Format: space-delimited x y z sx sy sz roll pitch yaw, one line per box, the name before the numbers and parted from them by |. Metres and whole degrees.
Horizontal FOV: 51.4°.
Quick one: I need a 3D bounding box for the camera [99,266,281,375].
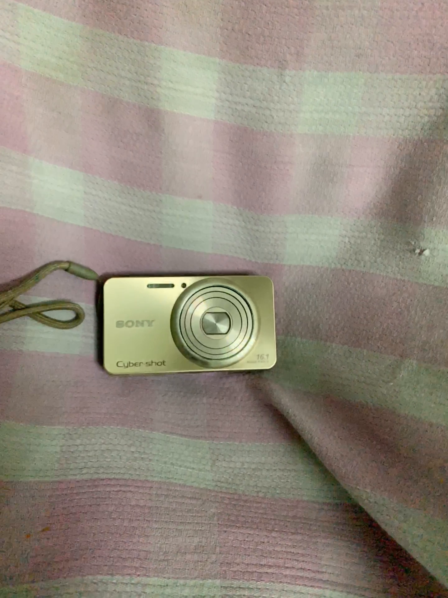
camera | -0.019 0.012 0.253 0.091 0.027 0.053 -2 83 -6
